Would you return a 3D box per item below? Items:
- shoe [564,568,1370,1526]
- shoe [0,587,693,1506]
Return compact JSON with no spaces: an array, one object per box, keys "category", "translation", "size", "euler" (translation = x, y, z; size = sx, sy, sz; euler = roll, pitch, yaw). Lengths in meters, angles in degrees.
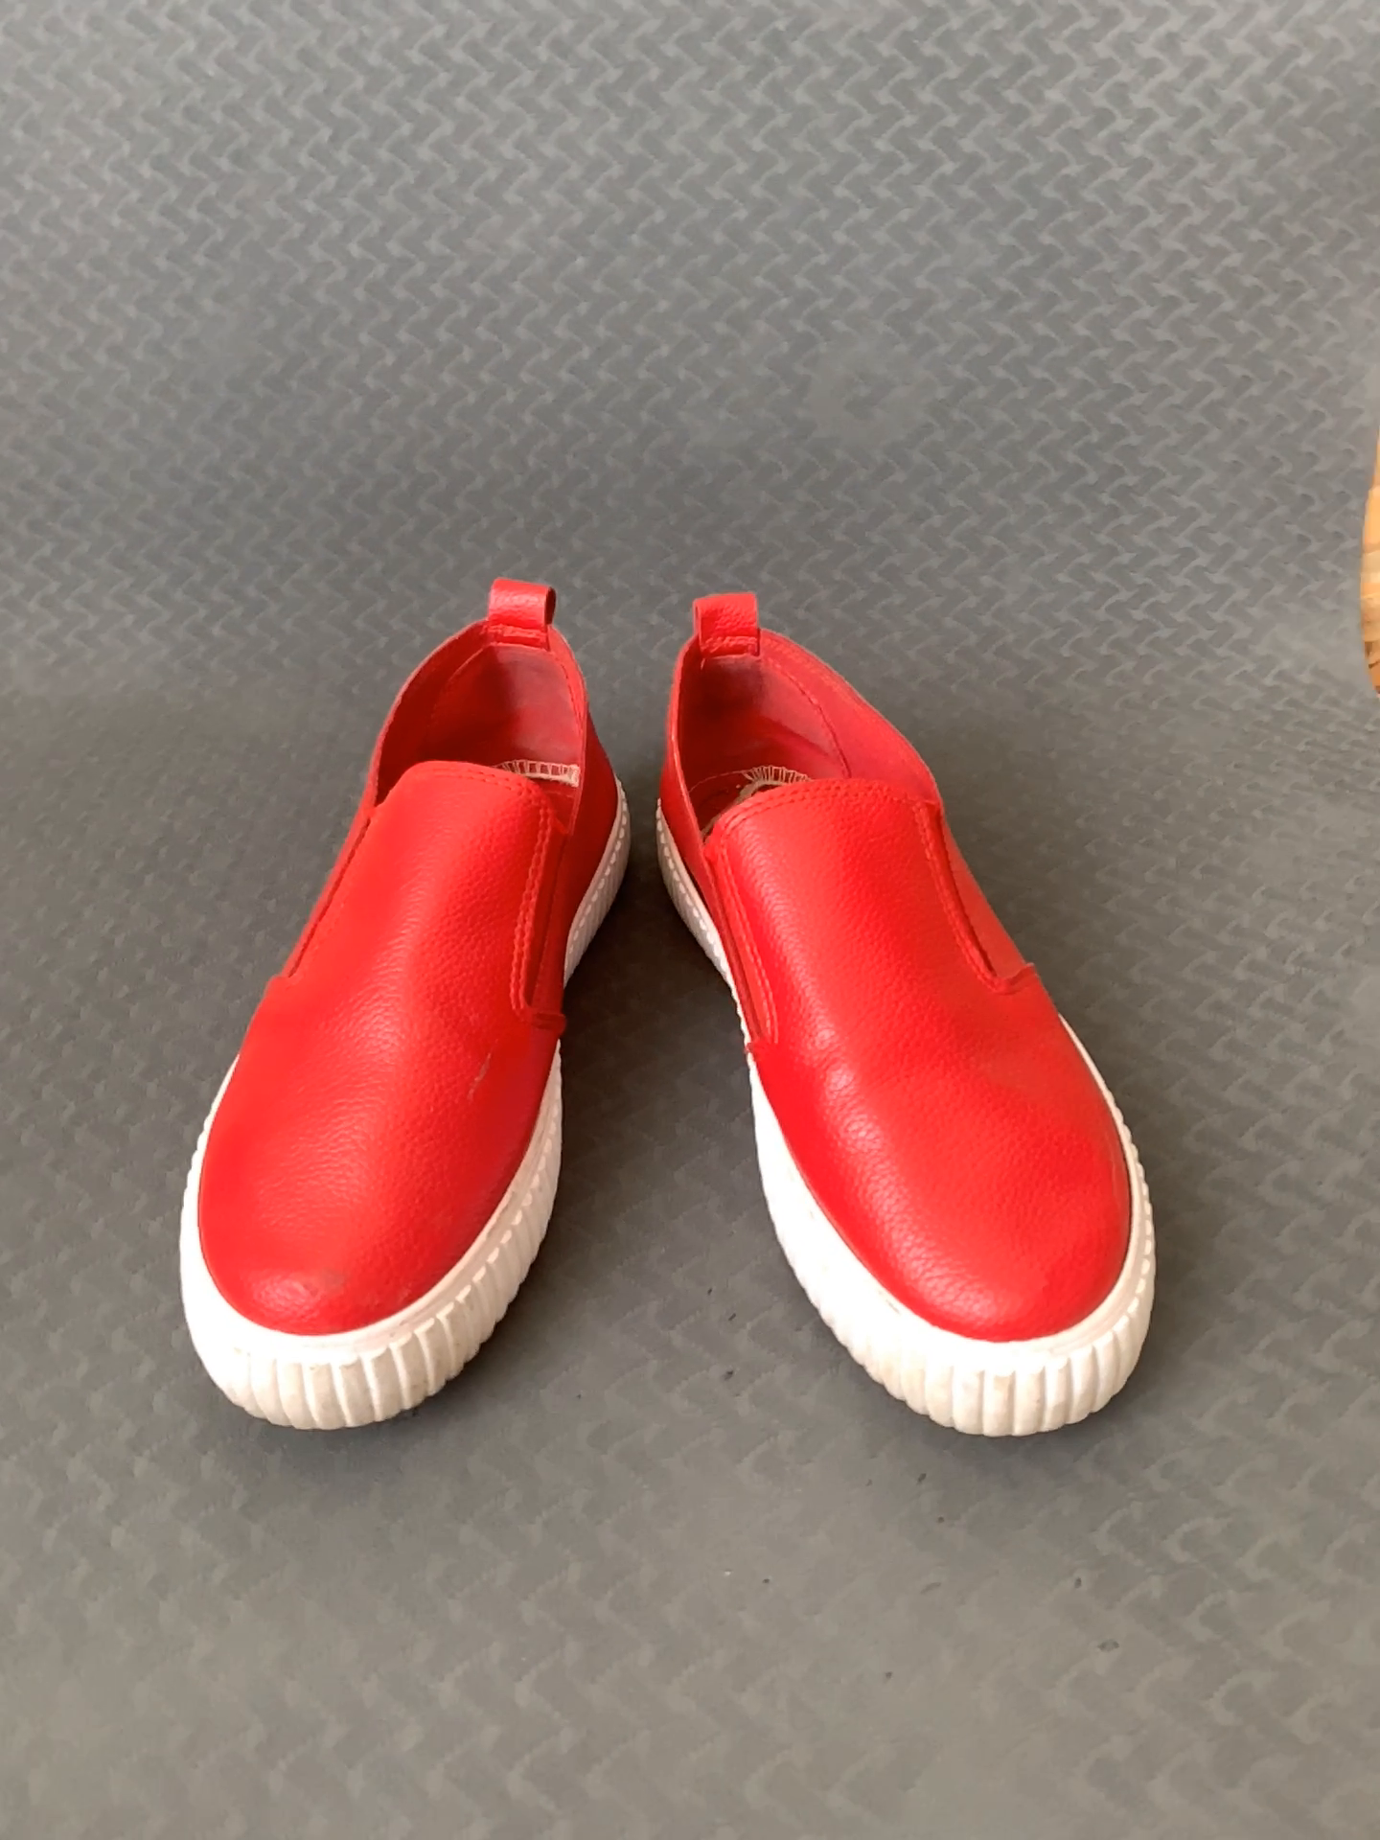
[{"category":"shoe","translation":[0.044,0.008,0.355],"size":[0.095,0.070,0.241],"euler":[-12,44,-11]},{"category":"shoe","translation":[-0.069,0.010,0.365],"size":[0.095,0.070,0.241],"euler":[6,44,8]}]
